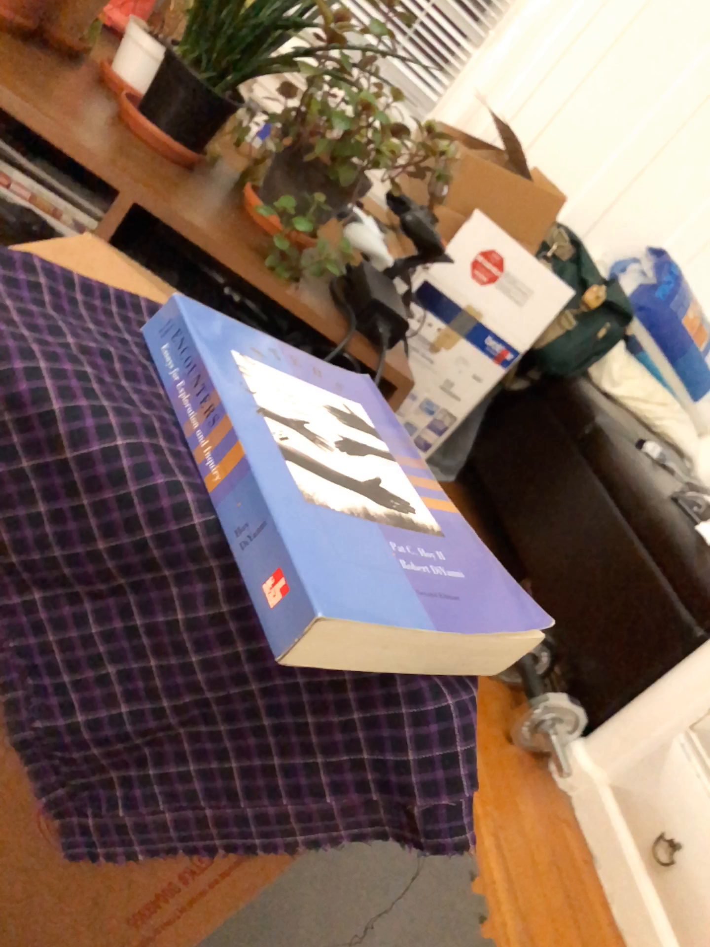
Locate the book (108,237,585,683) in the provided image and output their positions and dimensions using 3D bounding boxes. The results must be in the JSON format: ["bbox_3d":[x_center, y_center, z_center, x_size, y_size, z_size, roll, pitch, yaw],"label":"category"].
[{"bbox_3d":[-0.009,-0.008,0.440,0.200,0.040,0.261,18,31,-45],"label":"book"}]
